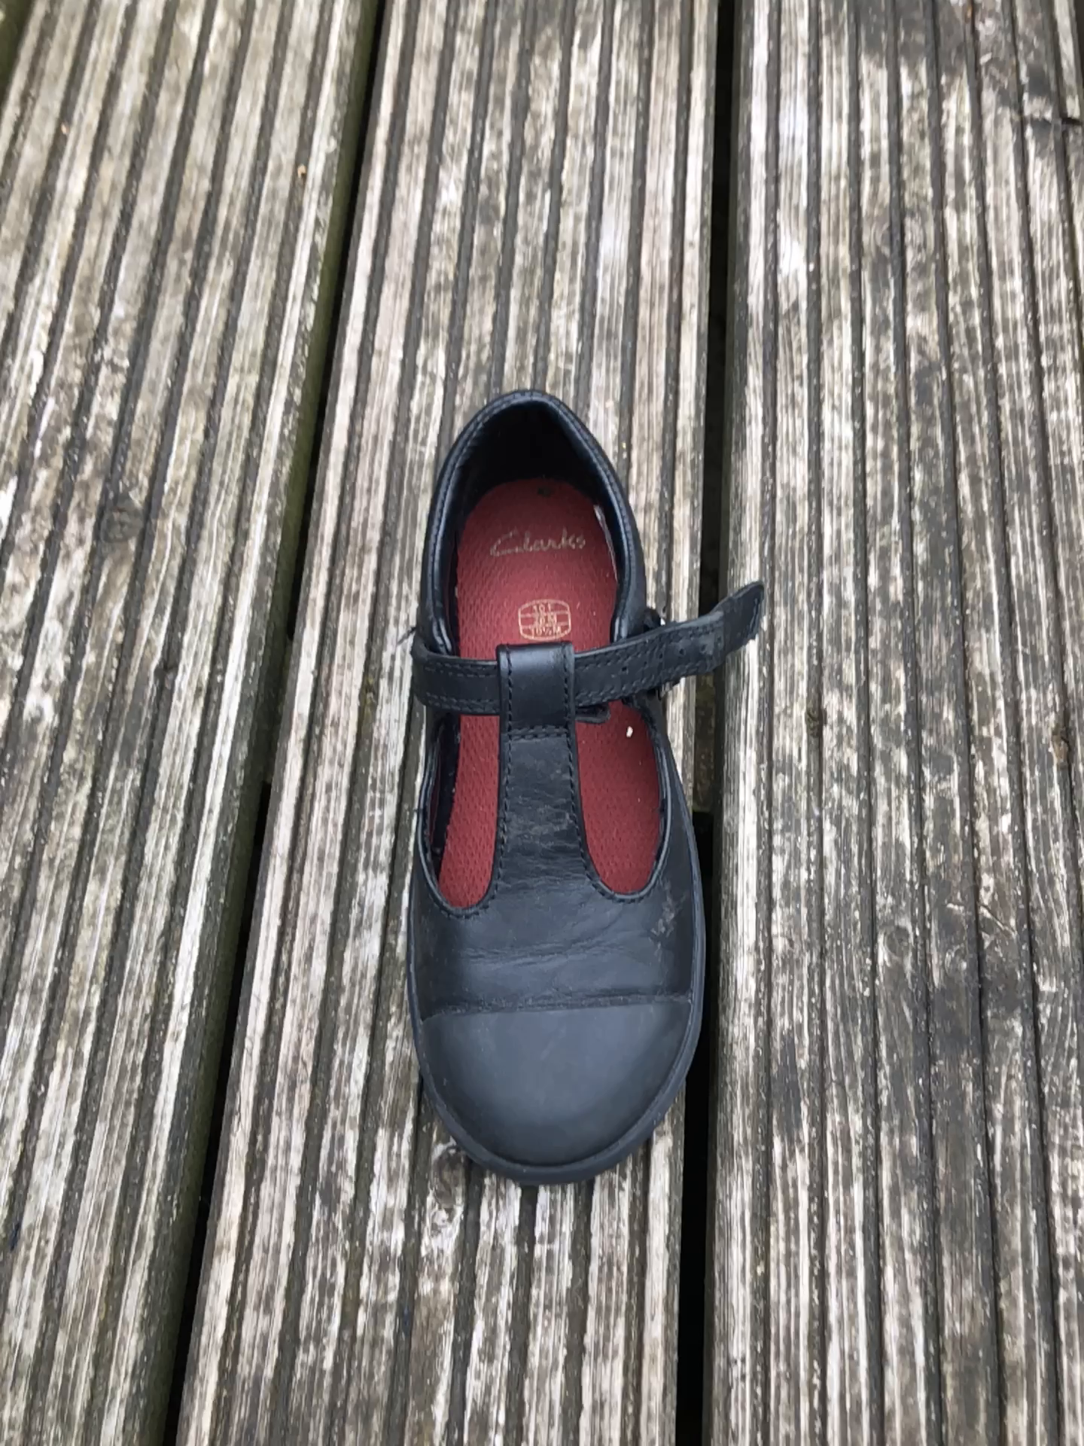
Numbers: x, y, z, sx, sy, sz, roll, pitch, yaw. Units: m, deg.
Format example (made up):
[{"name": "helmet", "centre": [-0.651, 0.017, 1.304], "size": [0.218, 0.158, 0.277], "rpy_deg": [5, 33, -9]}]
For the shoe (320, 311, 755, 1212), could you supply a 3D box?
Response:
[{"name": "shoe", "centre": [0.004, 0.008, 0.288], "size": [0.080, 0.080, 0.193], "rpy_deg": [2, 72, 2]}]
